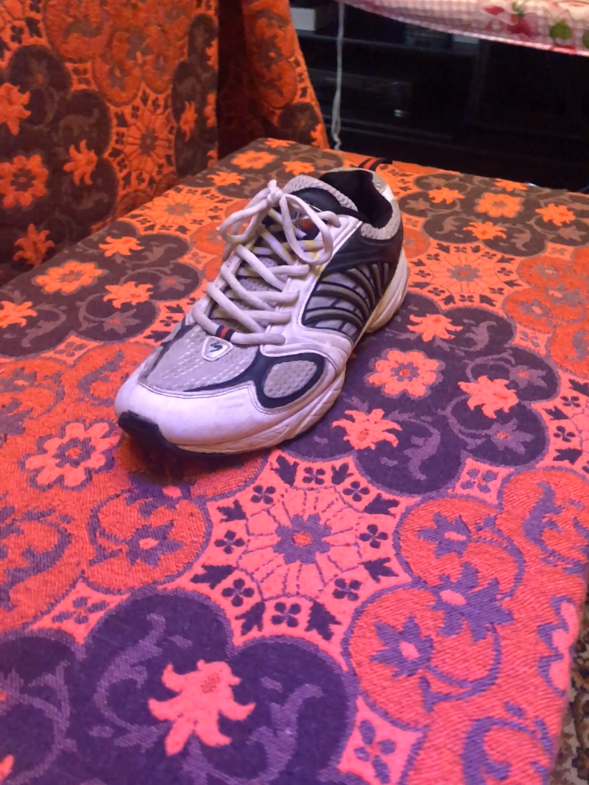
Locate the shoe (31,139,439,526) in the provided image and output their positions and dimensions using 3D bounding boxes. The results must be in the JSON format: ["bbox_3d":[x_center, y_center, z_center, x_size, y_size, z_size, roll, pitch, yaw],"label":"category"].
[{"bbox_3d":[-0.011,-0.070,0.447,0.120,0.109,0.301,17,40,21],"label":"shoe"}]
